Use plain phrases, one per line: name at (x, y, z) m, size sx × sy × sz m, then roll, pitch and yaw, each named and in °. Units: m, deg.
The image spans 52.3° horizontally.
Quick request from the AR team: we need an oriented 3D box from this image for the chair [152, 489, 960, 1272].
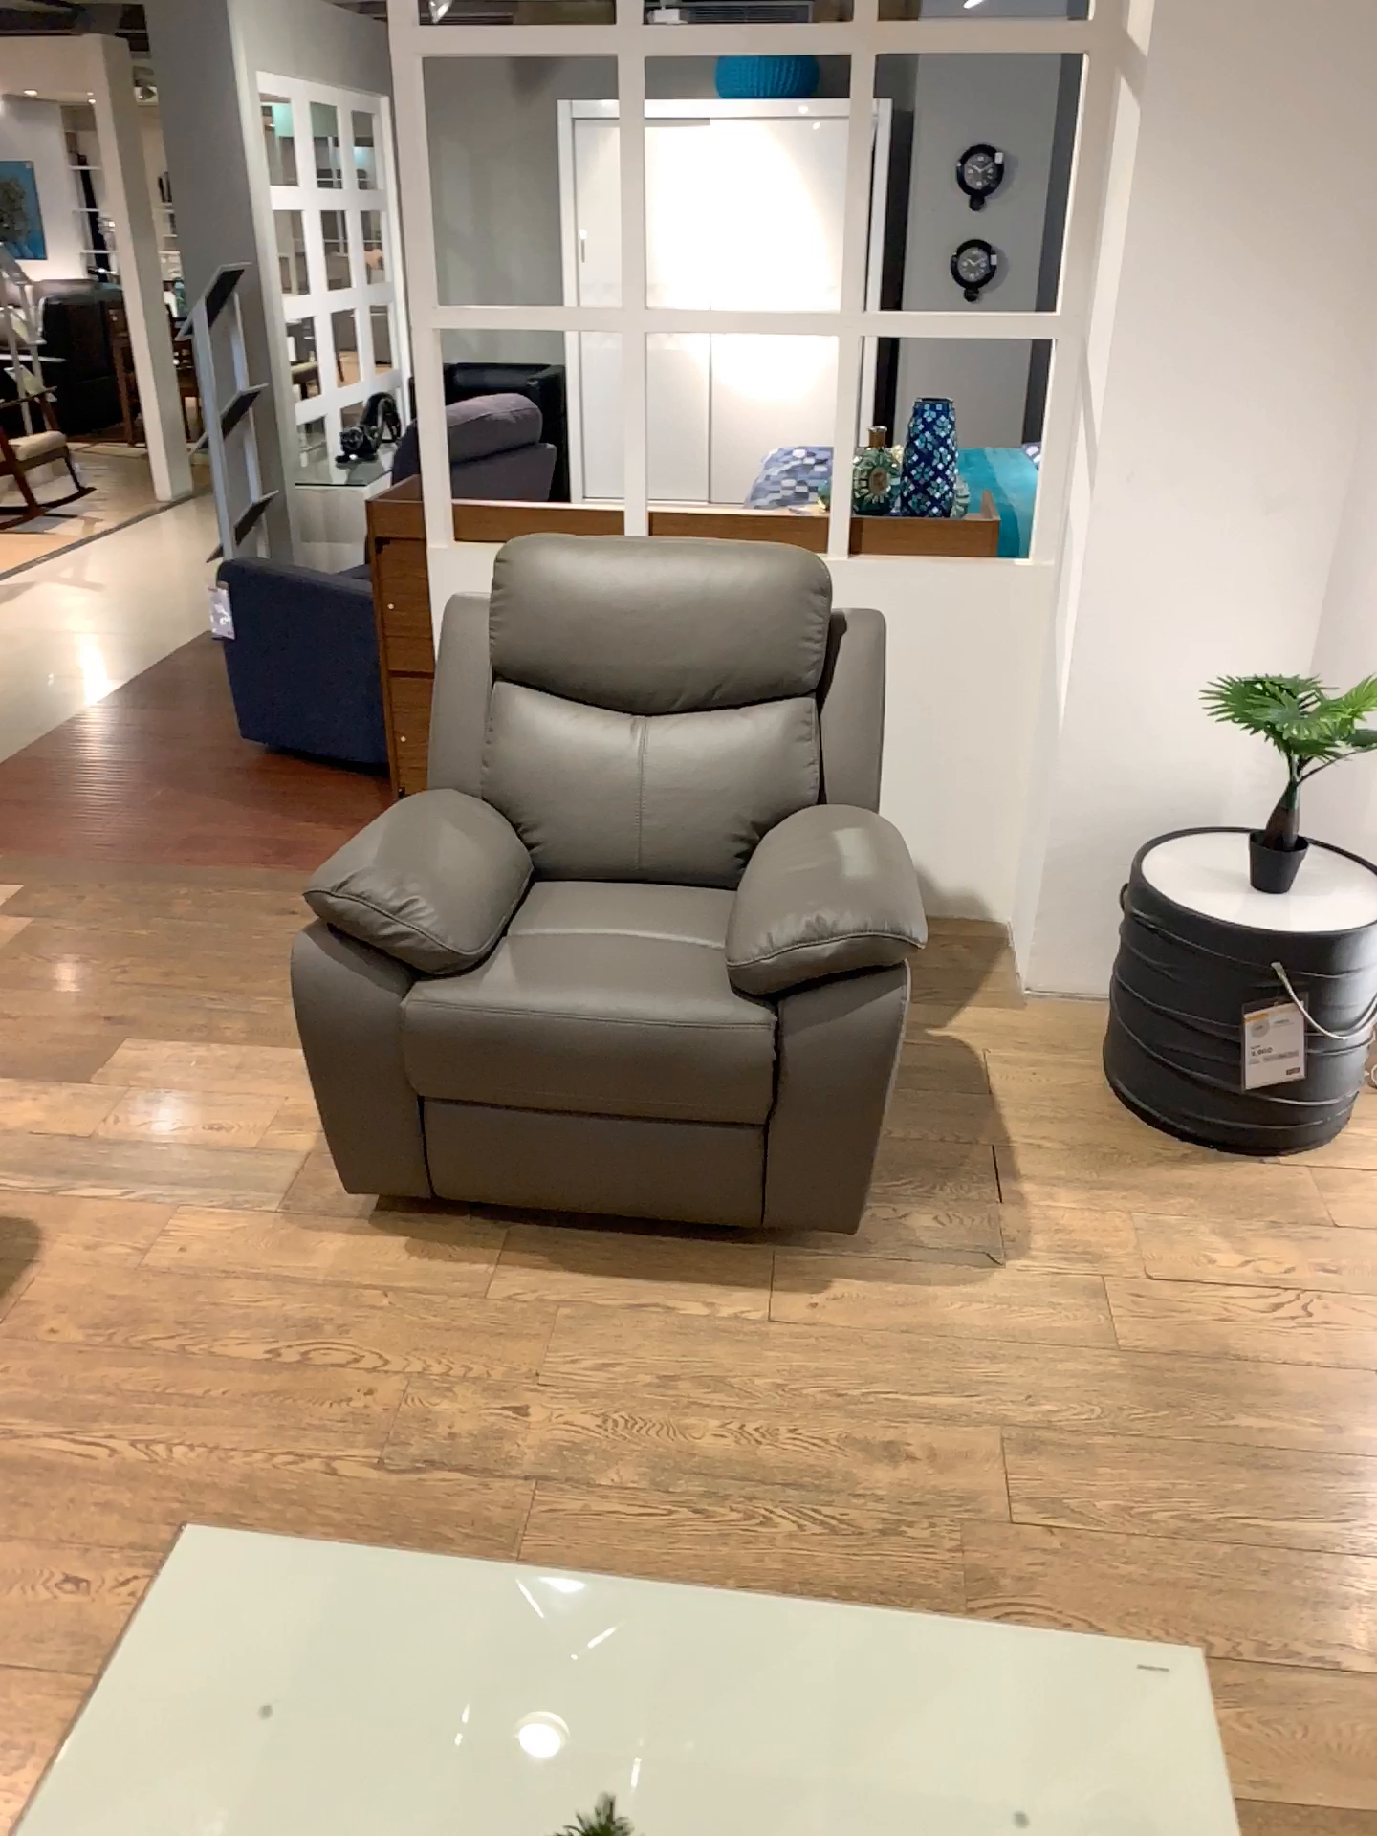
chair at (-0.120, -0.137, 2.330) m, size 1.000 × 0.936 × 0.944 m, roll 3°, pitch 26°, yaw 6°
